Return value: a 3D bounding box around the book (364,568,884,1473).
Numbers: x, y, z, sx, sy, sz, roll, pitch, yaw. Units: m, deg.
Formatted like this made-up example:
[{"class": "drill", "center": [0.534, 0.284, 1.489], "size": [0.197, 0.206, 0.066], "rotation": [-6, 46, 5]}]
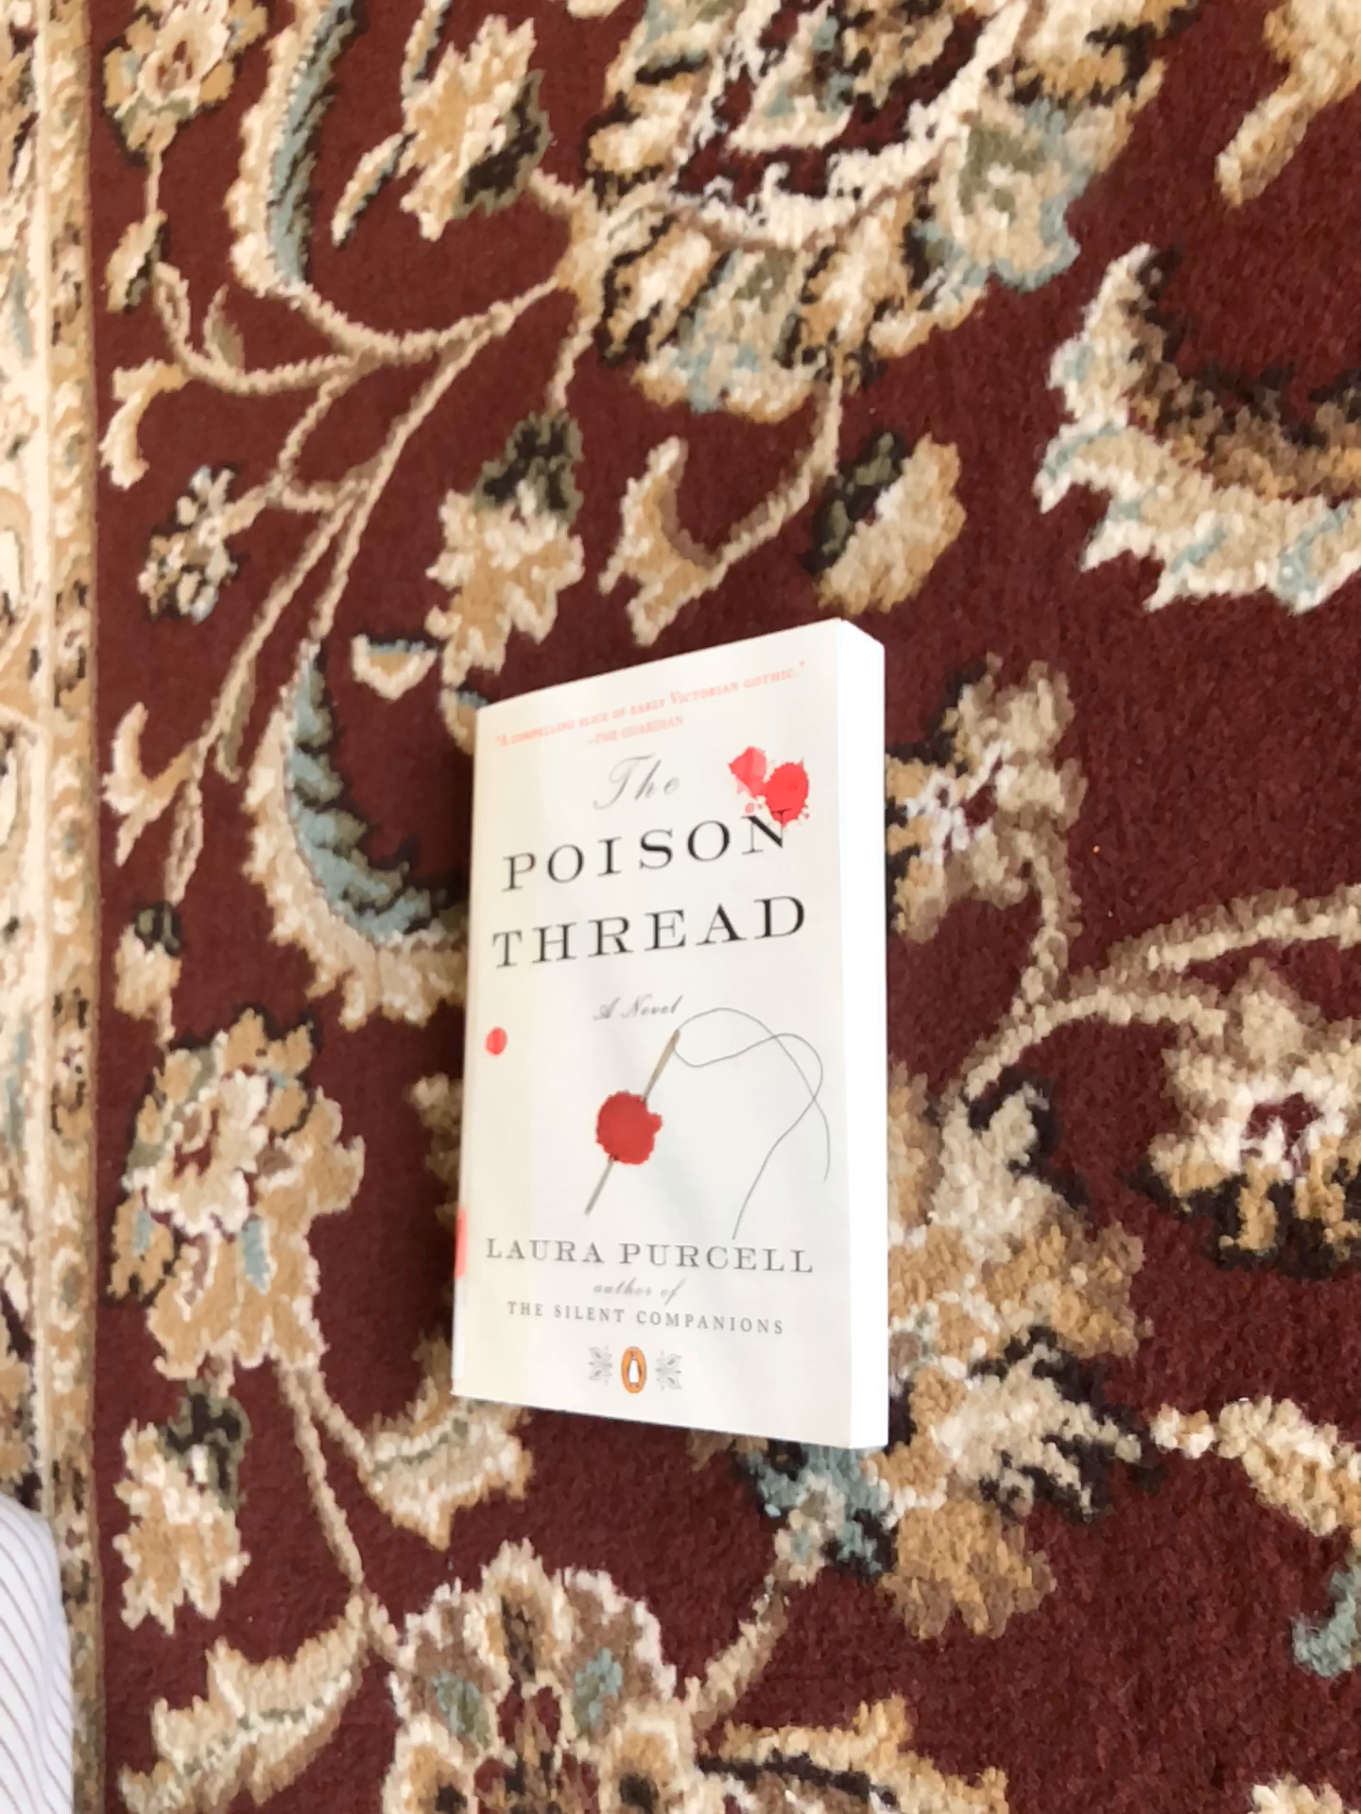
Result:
[{"class": "book", "center": [-0.019, 0.029, 0.388], "size": [0.141, 0.030, 0.200], "rotation": [-7, 78, 37]}]
